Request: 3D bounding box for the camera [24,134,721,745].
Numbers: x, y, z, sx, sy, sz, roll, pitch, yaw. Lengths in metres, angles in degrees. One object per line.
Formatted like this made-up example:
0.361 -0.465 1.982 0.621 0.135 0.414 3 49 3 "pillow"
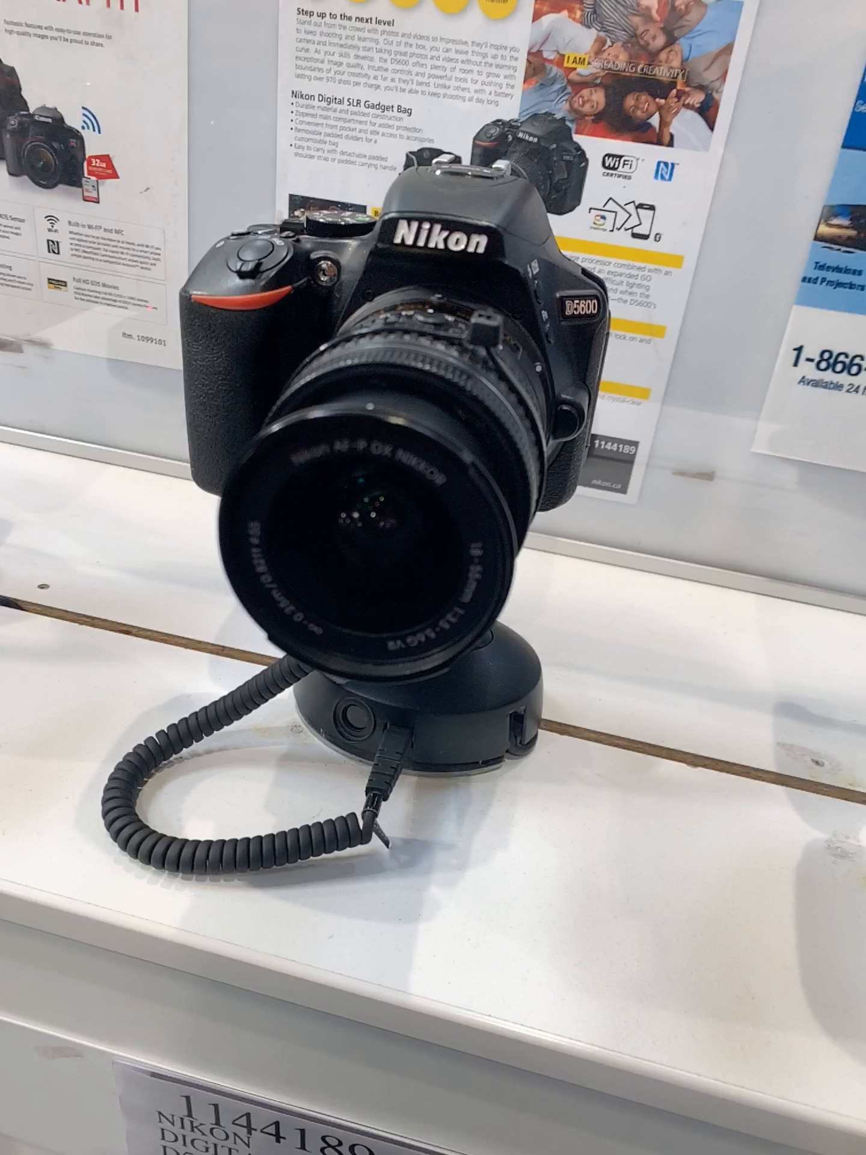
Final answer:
-0.004 -0.049 0.221 0.111 0.090 0.141 10 30 6 "camera"
